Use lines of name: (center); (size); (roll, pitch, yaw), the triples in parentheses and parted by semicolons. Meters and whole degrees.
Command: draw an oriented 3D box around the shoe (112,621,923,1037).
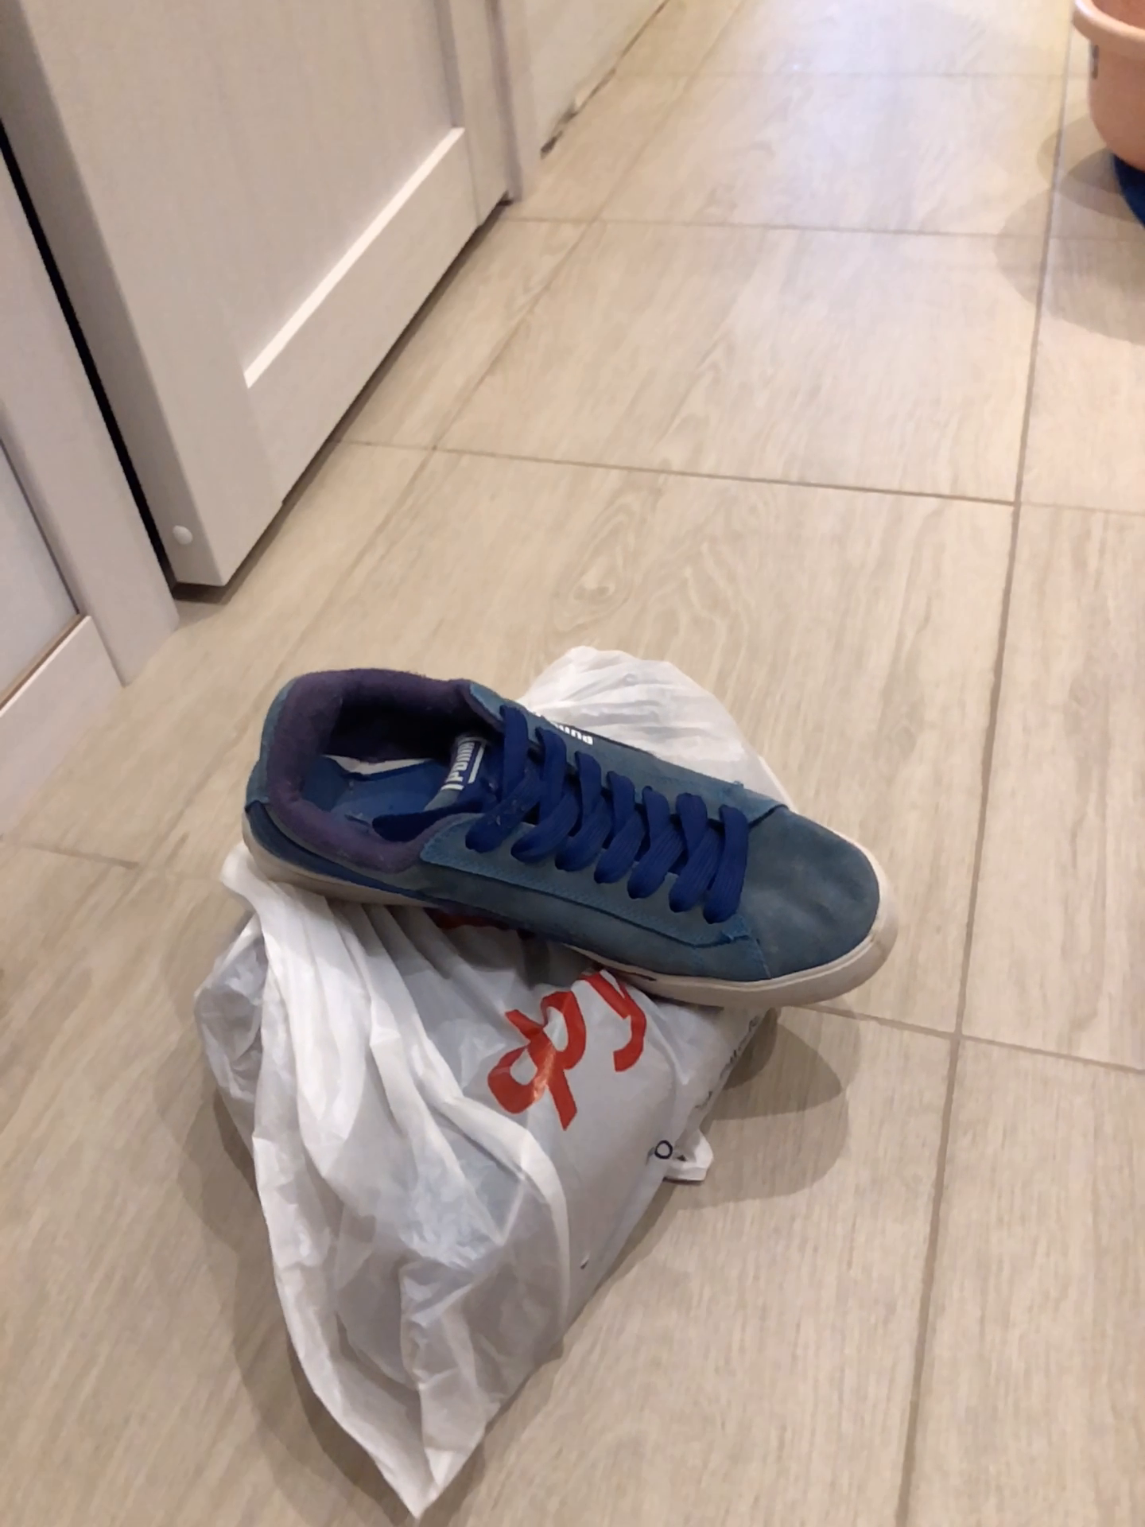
shoe: (-0.015, 0.023, 0.524); (0.300, 0.099, 0.111); (4, 53, 11)
